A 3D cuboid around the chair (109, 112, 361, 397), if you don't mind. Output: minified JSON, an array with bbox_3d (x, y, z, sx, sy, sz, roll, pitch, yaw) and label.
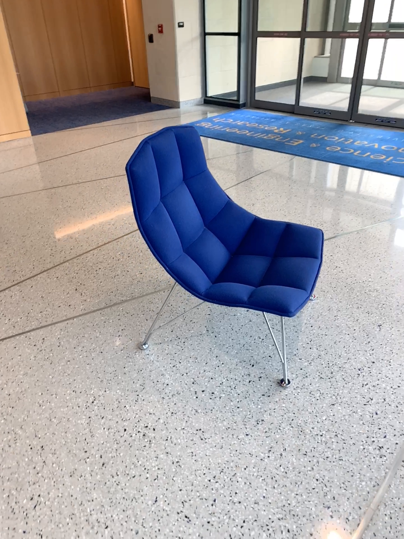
[{"bbox_3d":[0.205,-0.143,1.947,0.829,0.963,0.804,11,33,20],"label":"chair"}]
